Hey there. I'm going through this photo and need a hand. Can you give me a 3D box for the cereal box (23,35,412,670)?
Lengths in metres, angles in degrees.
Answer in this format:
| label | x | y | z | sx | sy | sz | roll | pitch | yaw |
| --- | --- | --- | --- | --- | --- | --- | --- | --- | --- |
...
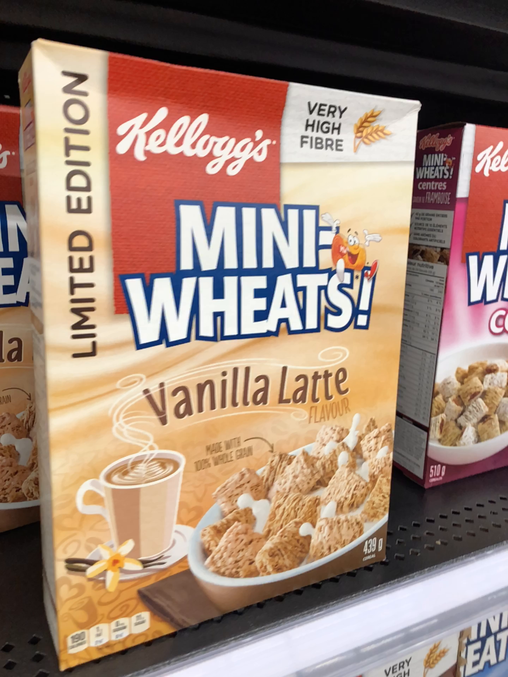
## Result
| label | x | y | z | sx | sy | sz | roll | pitch | yaw |
| --- | --- | --- | --- | --- | --- | --- | --- | --- | --- |
| cereal box | -0.014 | 0.007 | 0.312 | 0.190 | 0.279 | 0.060 | -5 | 12 | -27 |
